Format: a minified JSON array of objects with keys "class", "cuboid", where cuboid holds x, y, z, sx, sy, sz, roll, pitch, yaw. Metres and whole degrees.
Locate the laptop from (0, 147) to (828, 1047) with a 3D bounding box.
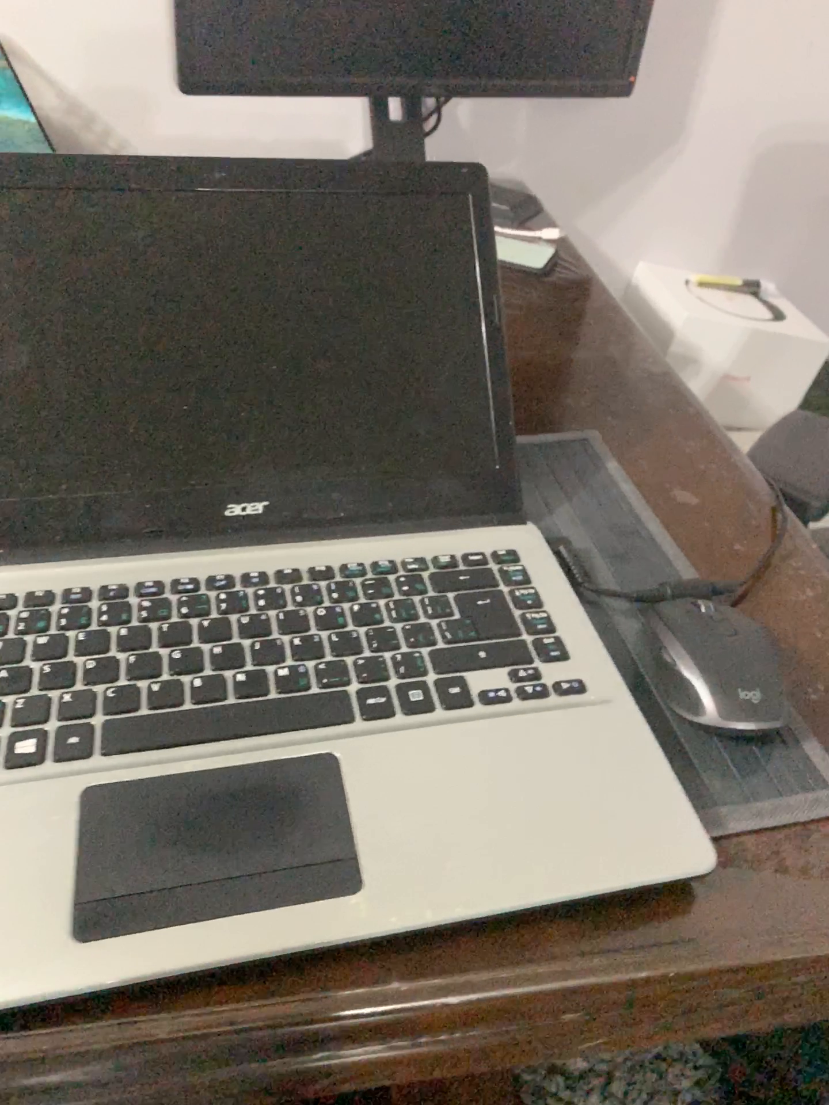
[{"class":"laptop","cuboid":[-0.075,-0.044,0.394,0.330,0.146,0.388,-4,41,-14]}]
